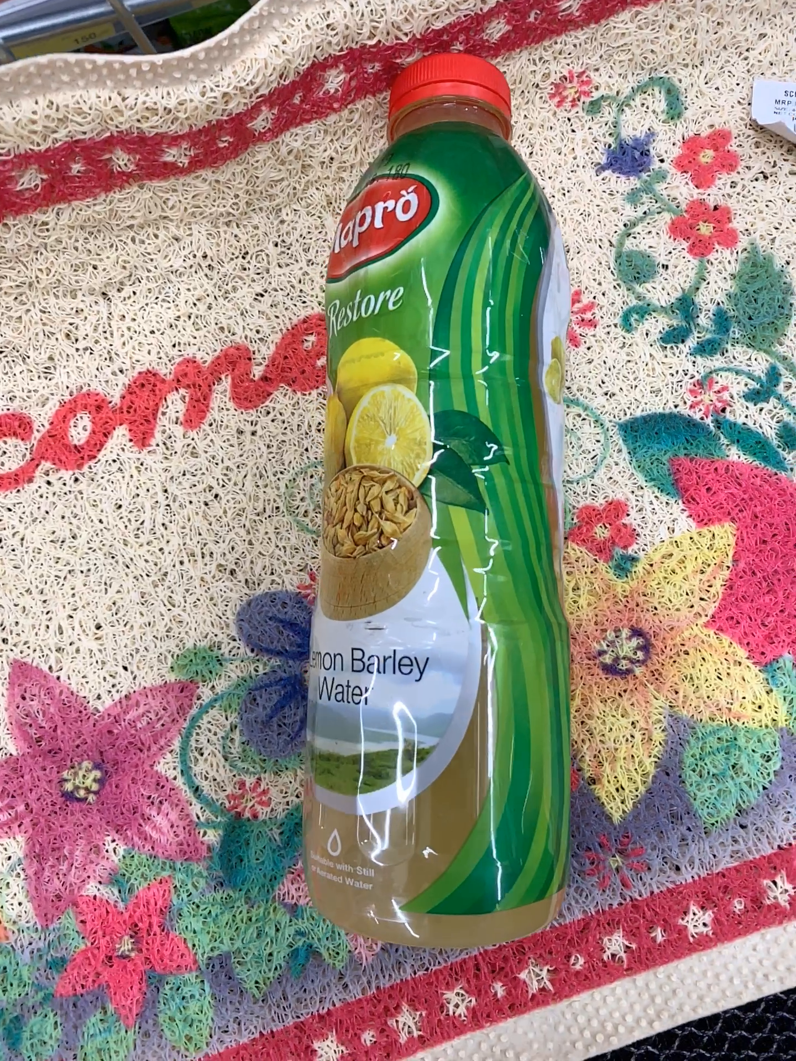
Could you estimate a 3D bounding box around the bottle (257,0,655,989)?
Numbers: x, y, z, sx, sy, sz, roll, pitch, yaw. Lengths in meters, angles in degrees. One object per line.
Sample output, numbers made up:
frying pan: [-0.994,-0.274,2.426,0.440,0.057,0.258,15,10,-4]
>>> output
bottle: [0.022,-0.026,0.256,0.080,0.090,0.270,-5,80,33]
